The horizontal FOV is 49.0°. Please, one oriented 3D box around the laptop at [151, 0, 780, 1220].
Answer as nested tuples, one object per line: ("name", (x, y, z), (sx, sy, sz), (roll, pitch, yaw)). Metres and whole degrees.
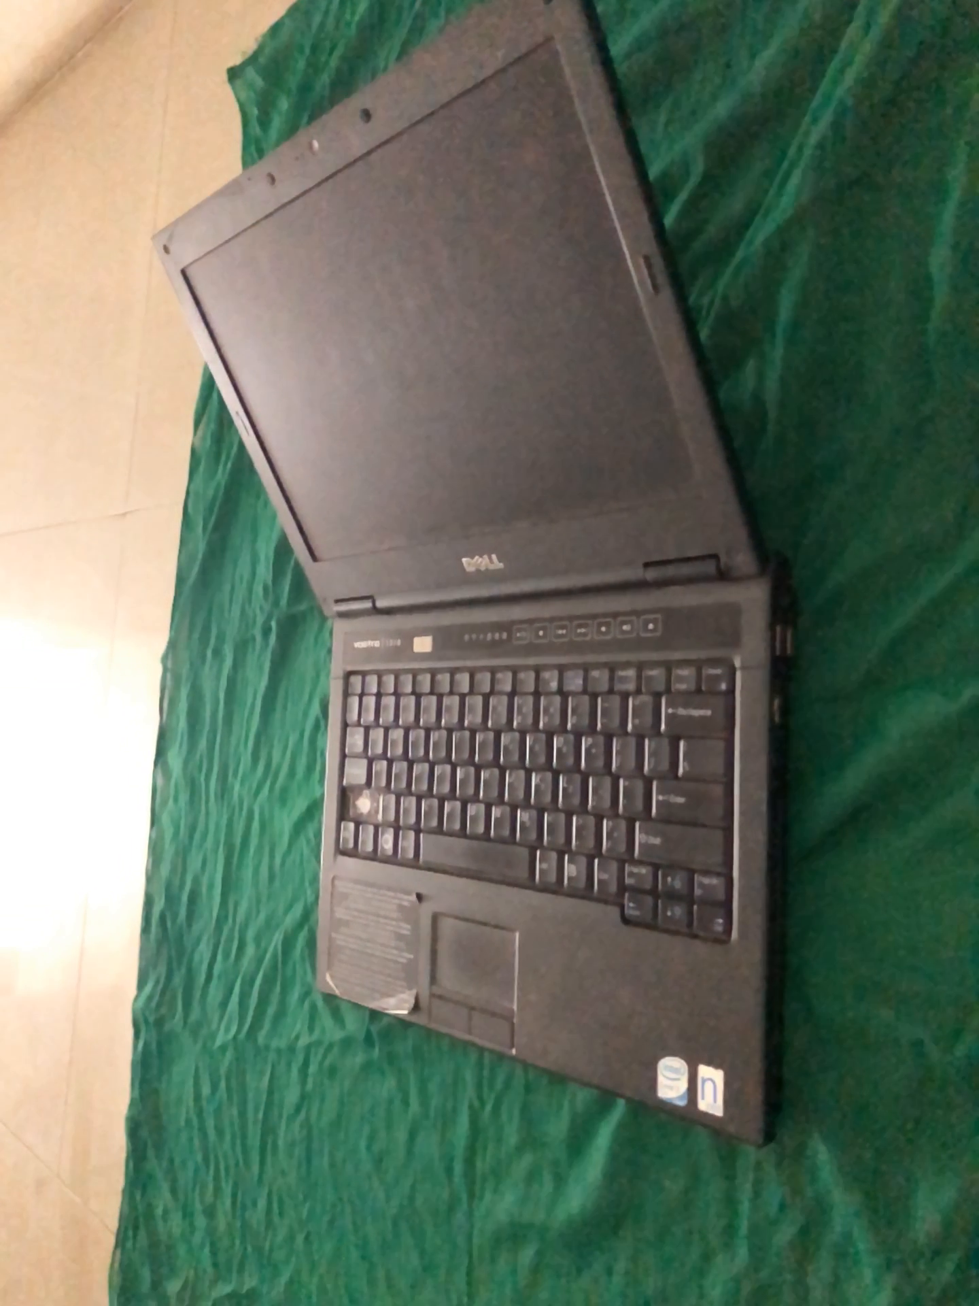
("laptop", (-0.034, -0.023, 0.512), (0.314, 0.126, 0.438), (-2, 88, 49))
